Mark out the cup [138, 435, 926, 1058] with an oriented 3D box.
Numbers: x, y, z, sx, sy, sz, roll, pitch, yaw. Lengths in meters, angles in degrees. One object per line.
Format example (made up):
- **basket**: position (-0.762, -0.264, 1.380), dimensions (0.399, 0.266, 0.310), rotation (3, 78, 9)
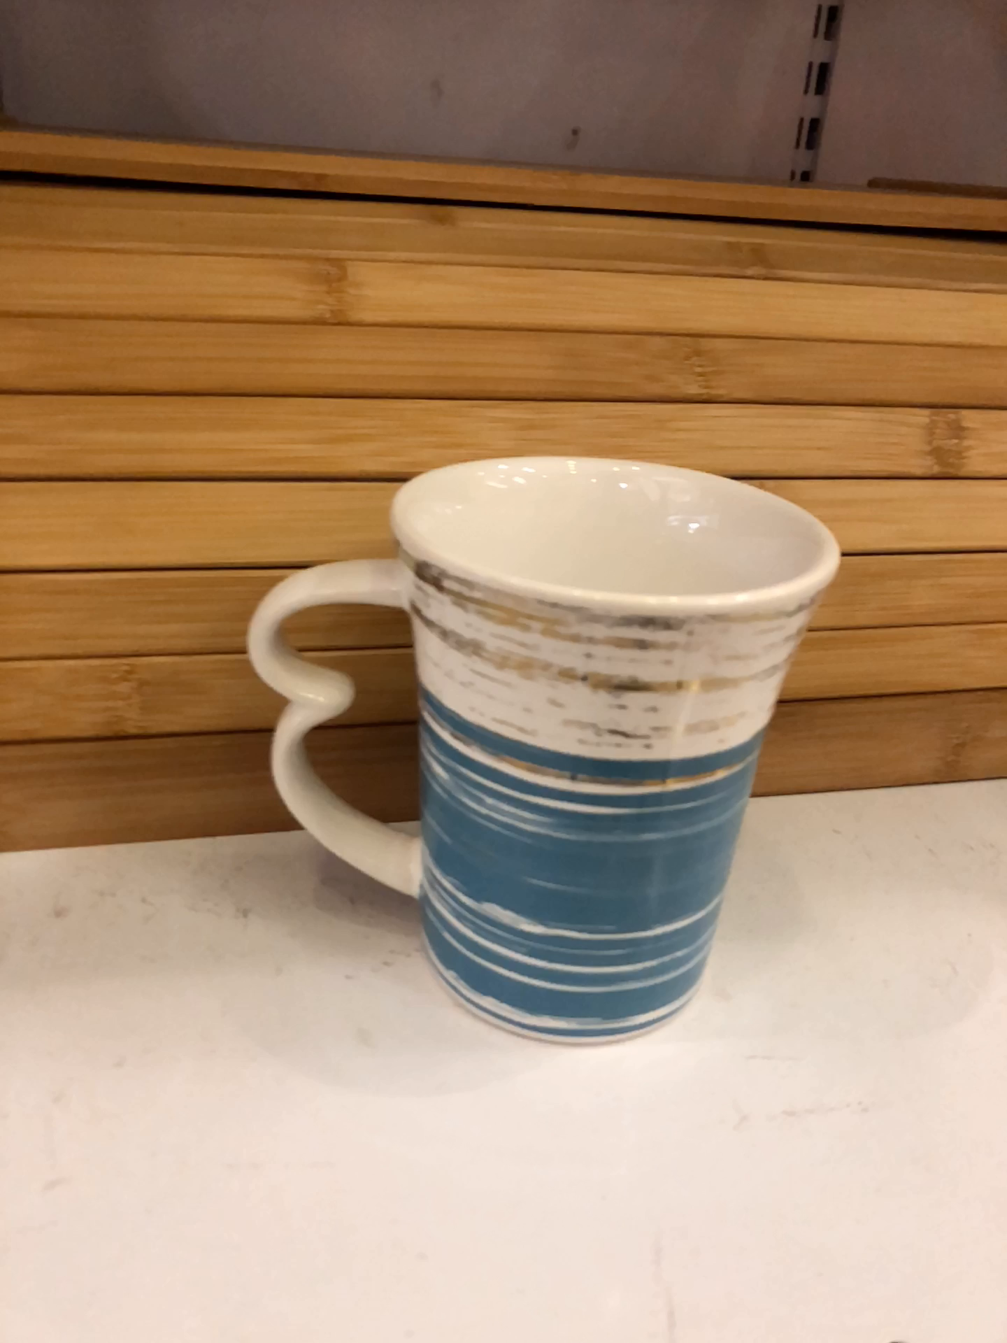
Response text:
- **cup**: position (0.001, 0.011, 0.229), dimensions (0.120, 0.089, 0.091), rotation (2, 26, -4)
